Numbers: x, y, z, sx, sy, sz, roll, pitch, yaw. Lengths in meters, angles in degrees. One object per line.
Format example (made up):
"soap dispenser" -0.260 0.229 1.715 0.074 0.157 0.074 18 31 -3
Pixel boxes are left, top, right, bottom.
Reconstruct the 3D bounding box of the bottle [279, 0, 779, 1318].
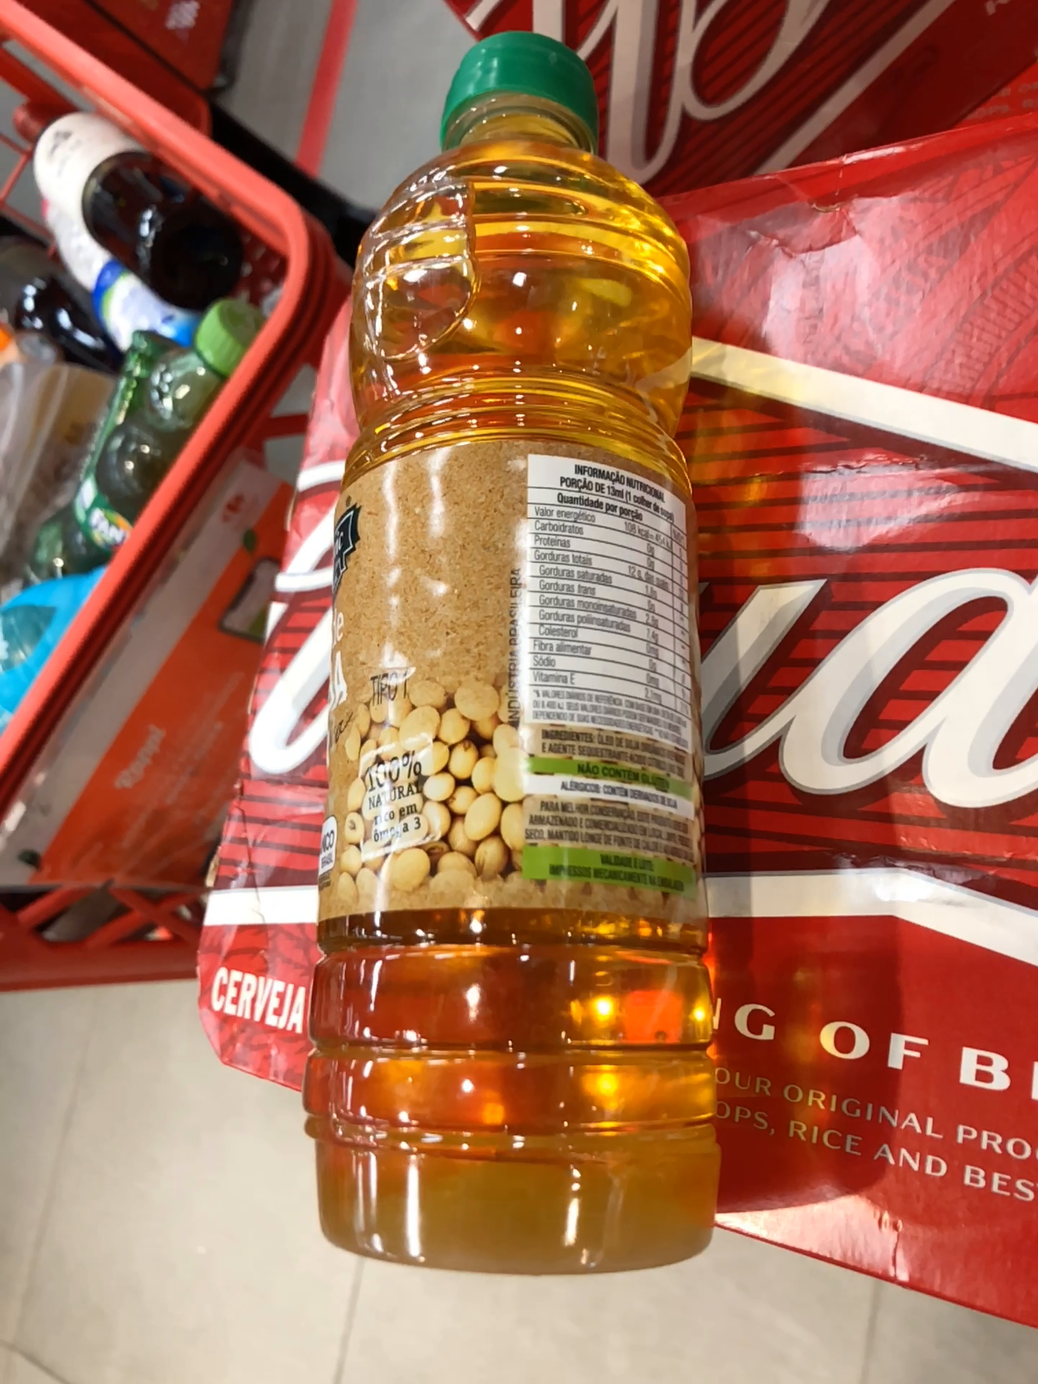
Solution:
"bottle" 0.002 -0.033 0.201 0.060 0.060 0.240 2 74 -3
